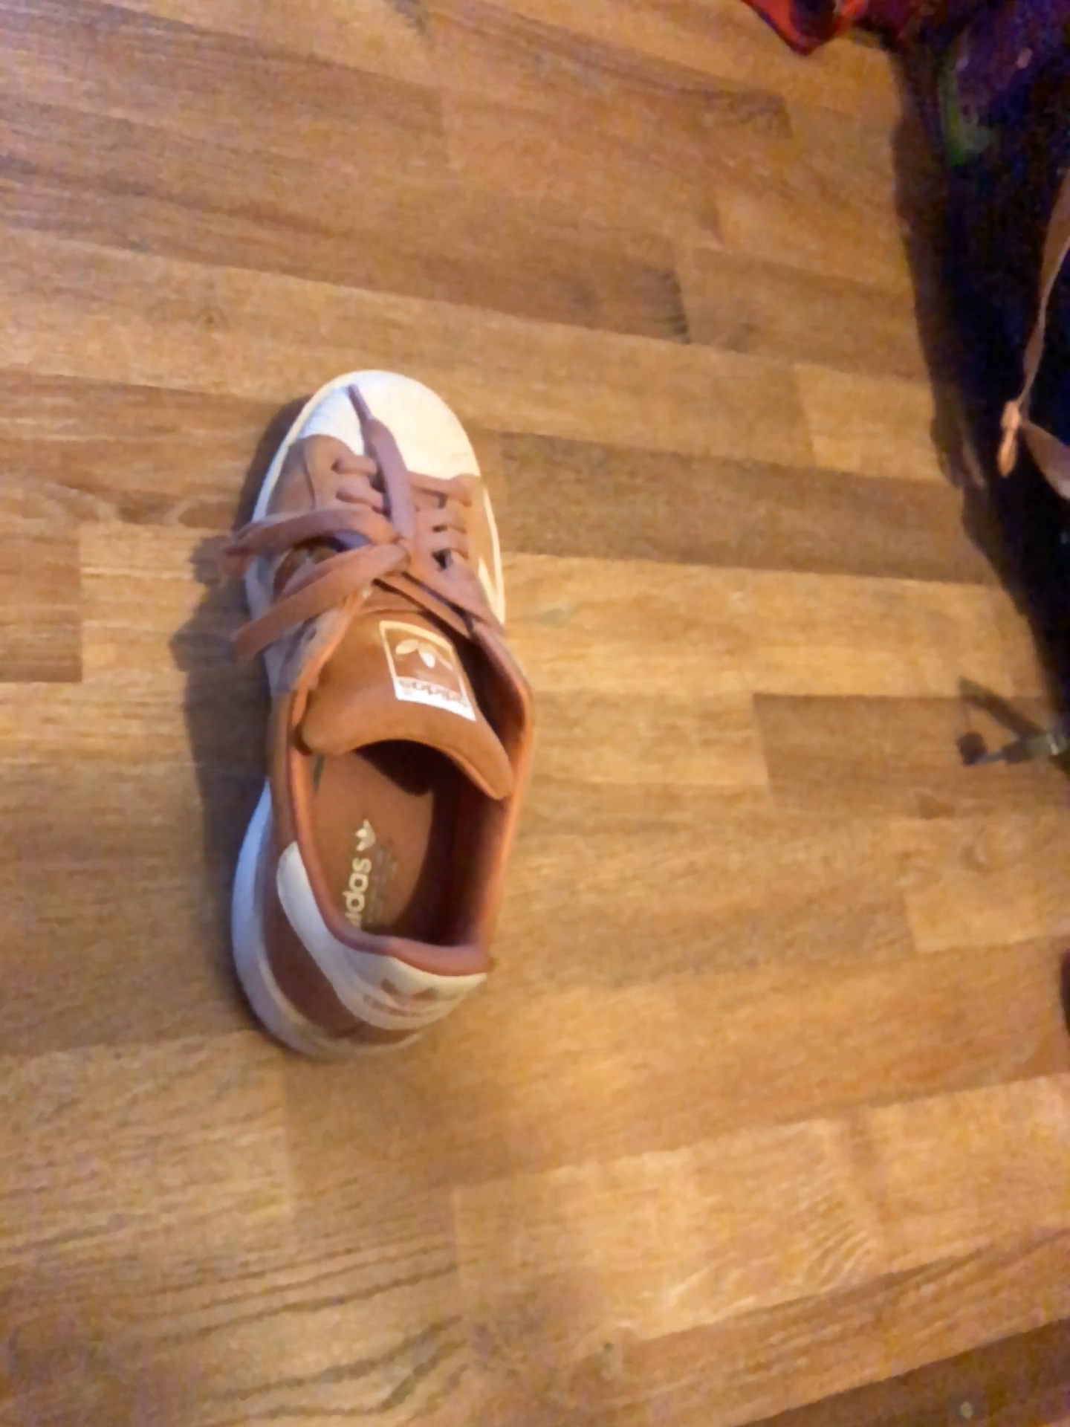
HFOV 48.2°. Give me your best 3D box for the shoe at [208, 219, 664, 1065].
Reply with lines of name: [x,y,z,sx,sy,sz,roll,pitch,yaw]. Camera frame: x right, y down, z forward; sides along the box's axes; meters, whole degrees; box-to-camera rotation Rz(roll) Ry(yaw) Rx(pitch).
shoe: [-0.040,-0.017,0.420,0.110,0.109,0.261,7,68,-25]
